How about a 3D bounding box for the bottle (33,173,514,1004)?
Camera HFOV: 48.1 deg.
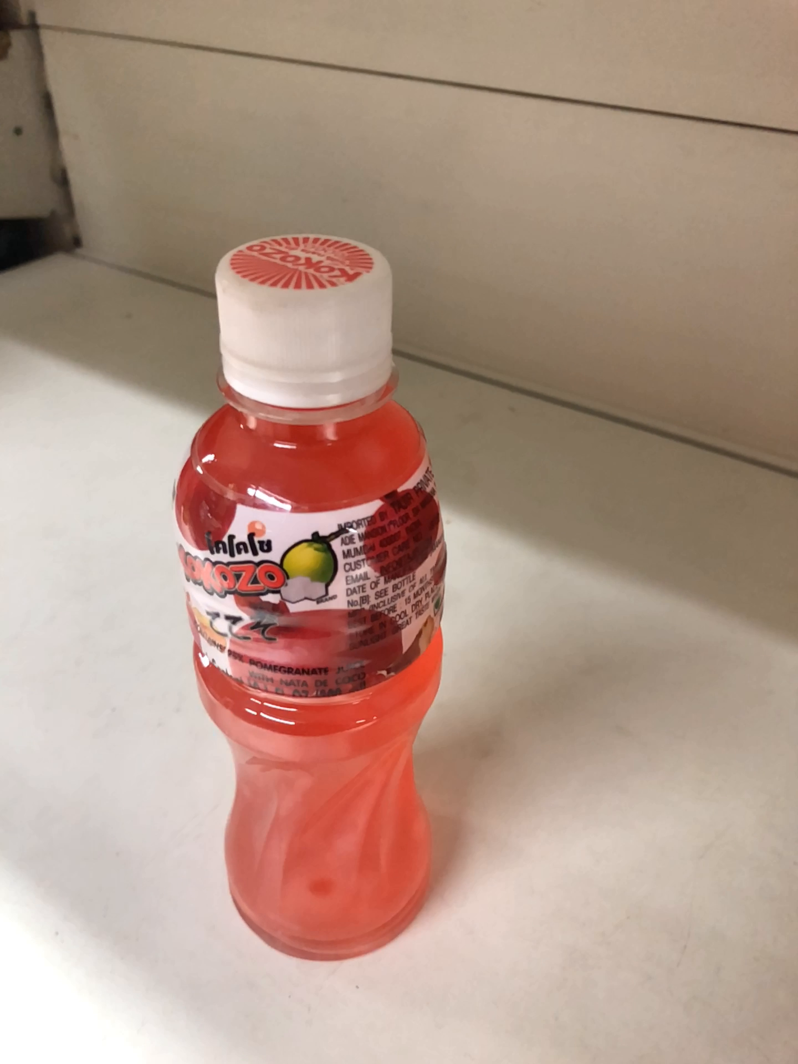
[{"bbox_3d":[-0.021,0.021,0.192,0.060,0.169,0.050,16,36,19],"label":"bottle"}]
